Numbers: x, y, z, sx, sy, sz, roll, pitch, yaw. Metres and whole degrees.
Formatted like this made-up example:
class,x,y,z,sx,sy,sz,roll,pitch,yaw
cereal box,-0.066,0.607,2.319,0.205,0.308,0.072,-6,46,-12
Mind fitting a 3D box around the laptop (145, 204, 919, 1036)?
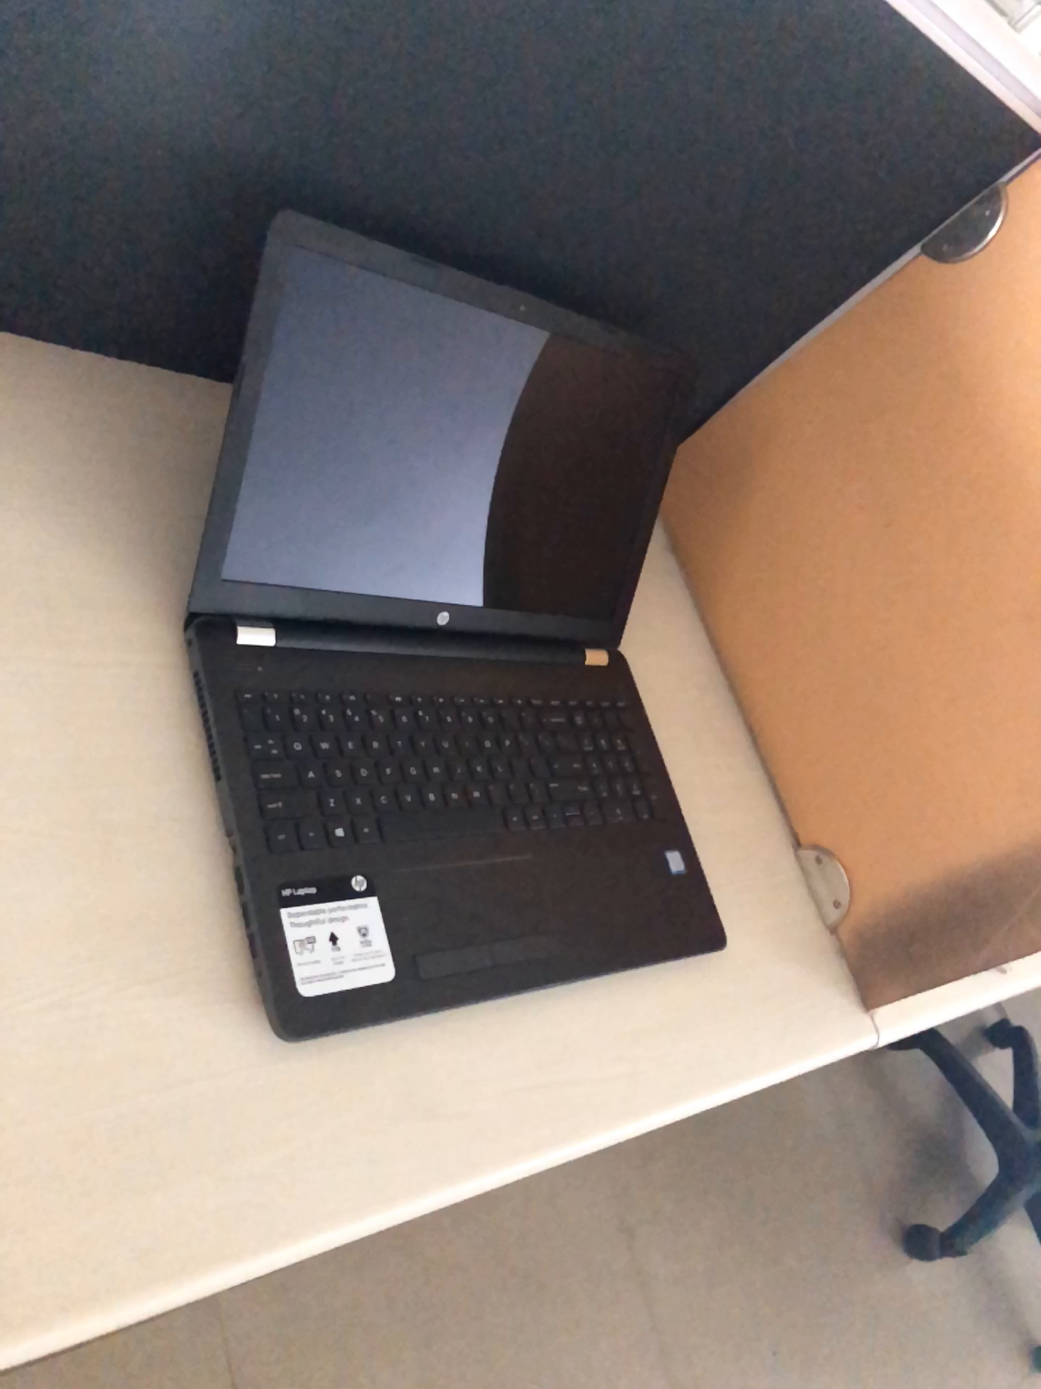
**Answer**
class,x,y,z,sx,sy,sz,roll,pitch,yaw
laptop,0.009,-0.042,0.738,0.379,0.173,0.408,2,62,-44
